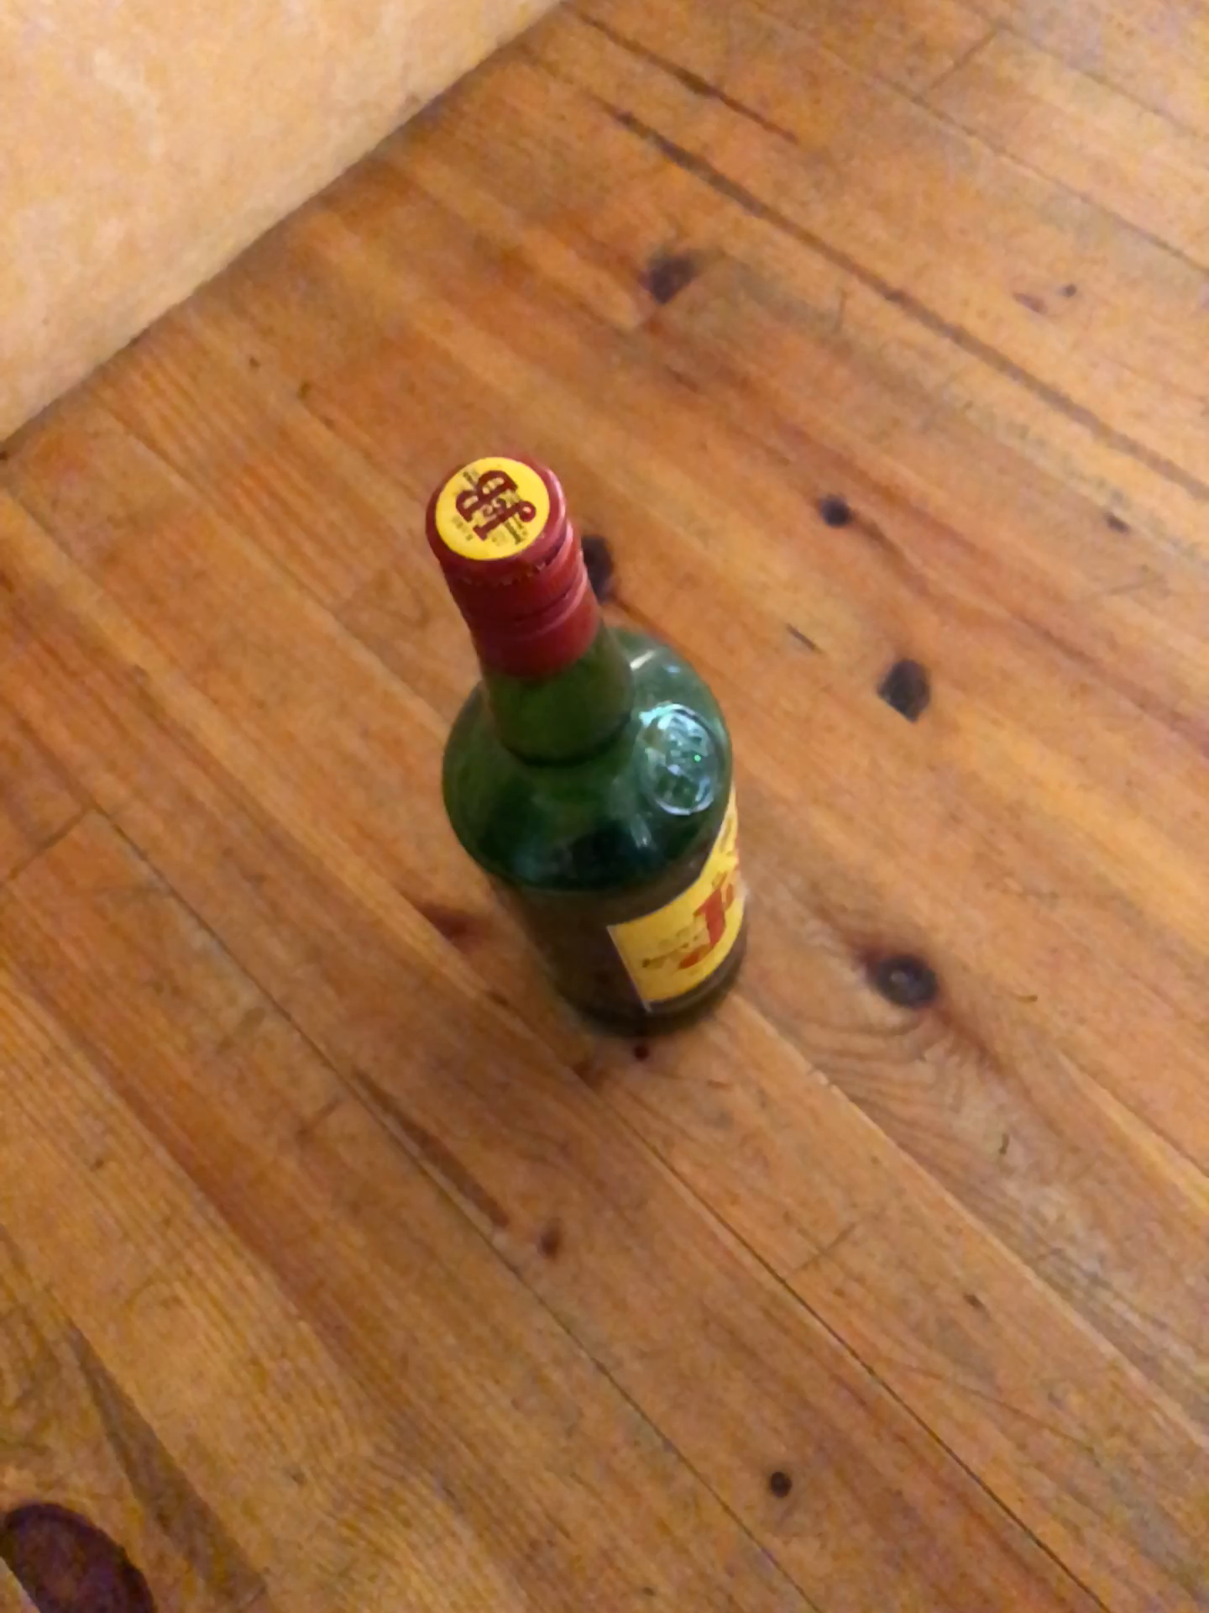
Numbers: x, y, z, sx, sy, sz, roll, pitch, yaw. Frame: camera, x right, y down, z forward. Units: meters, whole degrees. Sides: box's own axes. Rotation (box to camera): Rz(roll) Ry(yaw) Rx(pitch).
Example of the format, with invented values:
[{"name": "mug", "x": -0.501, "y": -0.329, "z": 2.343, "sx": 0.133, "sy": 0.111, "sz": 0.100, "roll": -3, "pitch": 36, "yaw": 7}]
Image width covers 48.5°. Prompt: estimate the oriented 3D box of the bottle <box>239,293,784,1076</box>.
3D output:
[{"name": "bottle", "x": 0.002, "y": -0.001, "z": 0.411, "sx": 0.080, "sy": 0.319, "sz": 0.090, "roll": 18, "pitch": 72, "yaw": 13}]
